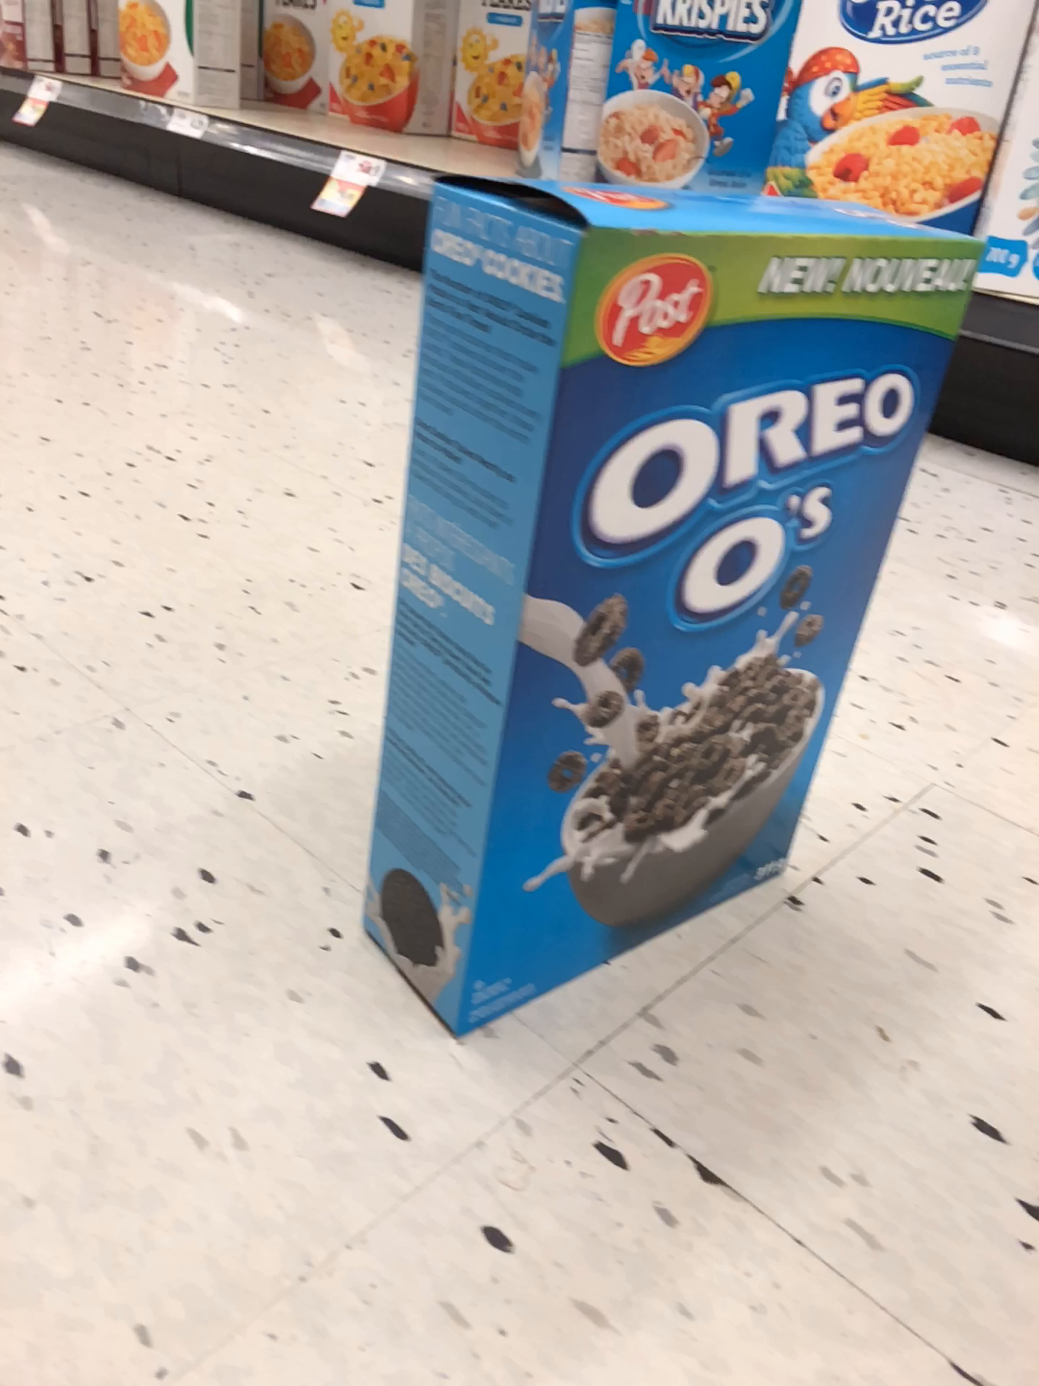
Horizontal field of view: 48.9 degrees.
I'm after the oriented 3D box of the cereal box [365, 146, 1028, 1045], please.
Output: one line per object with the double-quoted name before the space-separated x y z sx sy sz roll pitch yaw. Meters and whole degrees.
"cereal box" 0.056 -0.034 0.402 0.201 0.268 0.060 -16 36 -37
